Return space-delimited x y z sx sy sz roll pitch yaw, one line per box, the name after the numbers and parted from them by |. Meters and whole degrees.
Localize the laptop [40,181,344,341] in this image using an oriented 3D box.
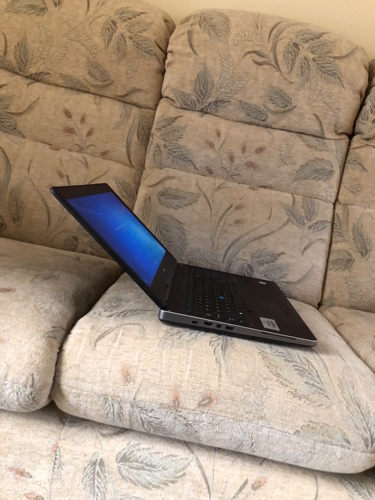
0.001 -0.008 0.810 0.451 0.157 0.356 11 12 0 | laptop
